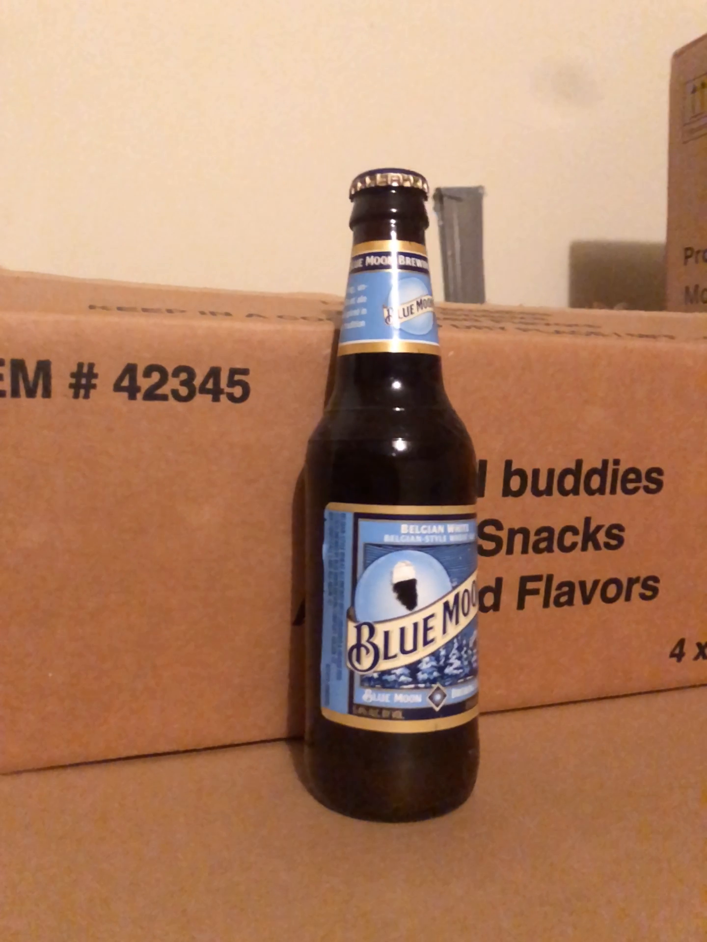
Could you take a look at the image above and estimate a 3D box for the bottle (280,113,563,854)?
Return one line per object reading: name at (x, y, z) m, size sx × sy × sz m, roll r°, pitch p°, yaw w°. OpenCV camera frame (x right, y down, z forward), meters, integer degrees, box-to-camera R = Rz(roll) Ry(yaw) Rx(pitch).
bottle at (0.019, 0.004, 0.263) m, size 0.070 × 0.210 × 0.060 m, roll -2°, pitch 6°, yaw -24°
